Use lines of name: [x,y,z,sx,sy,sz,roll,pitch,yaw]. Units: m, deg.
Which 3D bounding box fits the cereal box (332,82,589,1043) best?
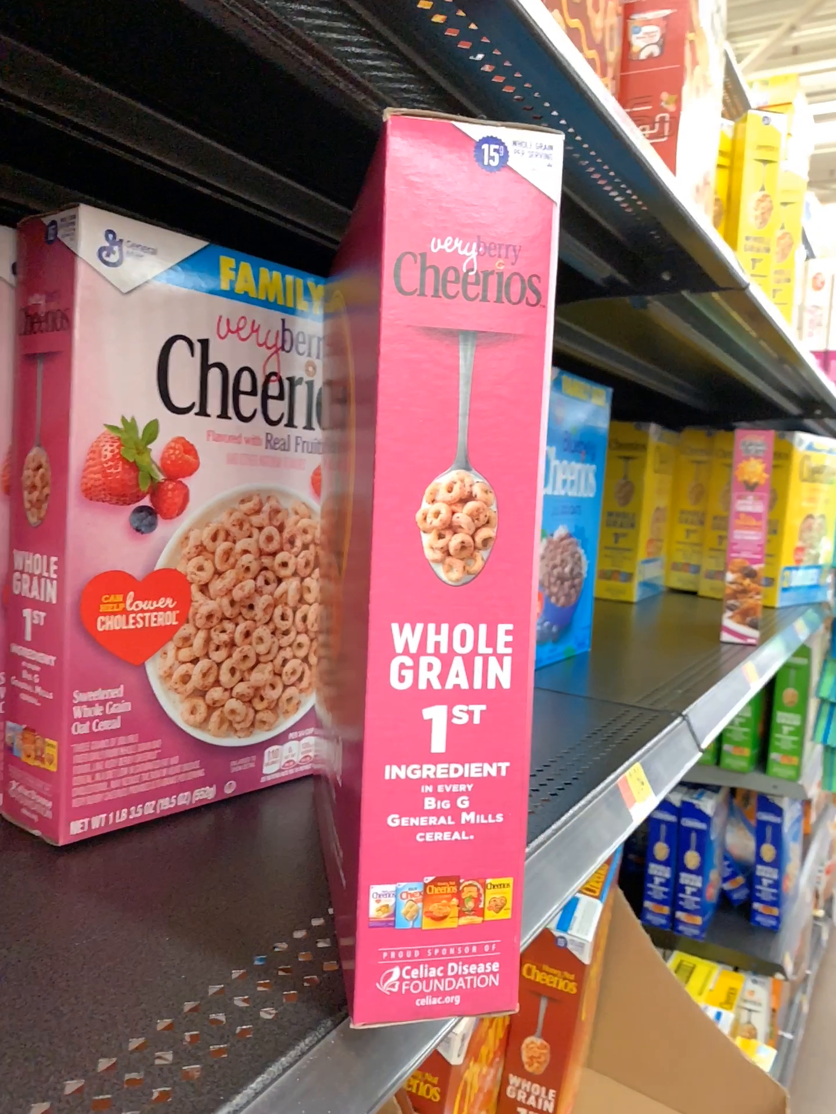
cereal box: [0.002,-0.002,0.409,0.060,0.320,0.240,1,4,-10]
